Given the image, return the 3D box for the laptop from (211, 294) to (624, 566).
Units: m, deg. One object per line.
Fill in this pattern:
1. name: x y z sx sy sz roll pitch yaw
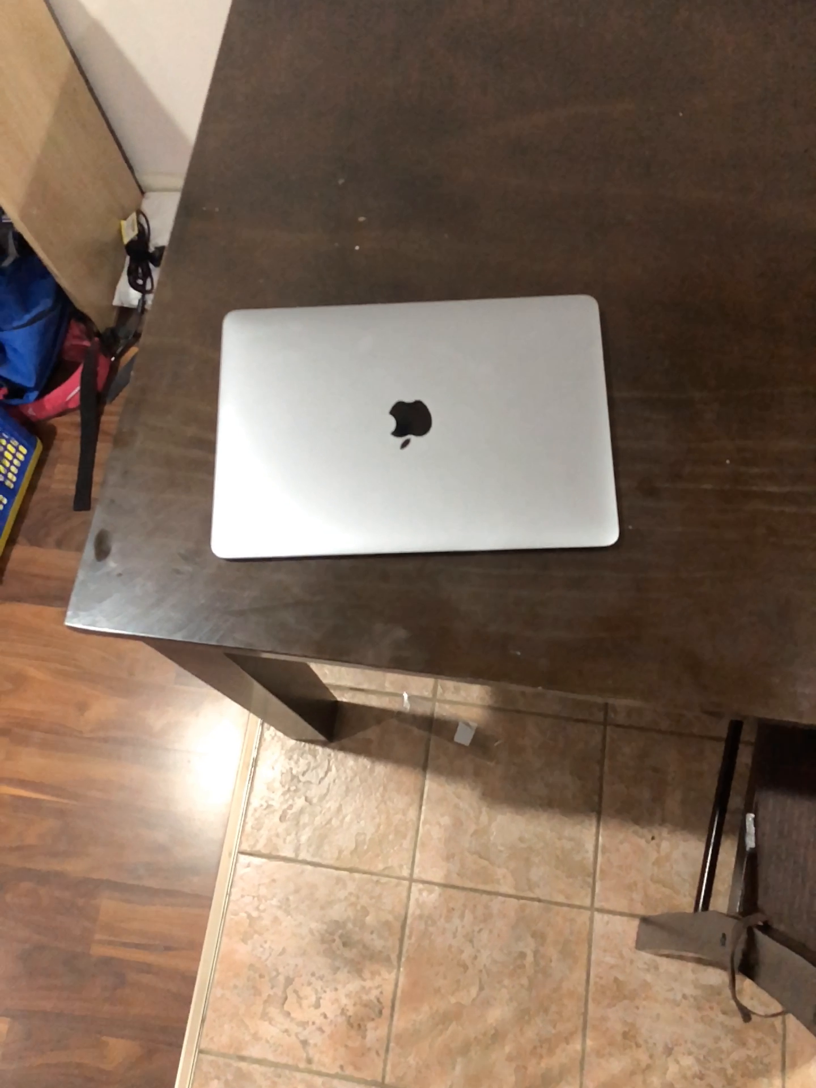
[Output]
1. laptop: 0.004 -0.085 0.627 0.275 0.002 0.196 -2 71 0
